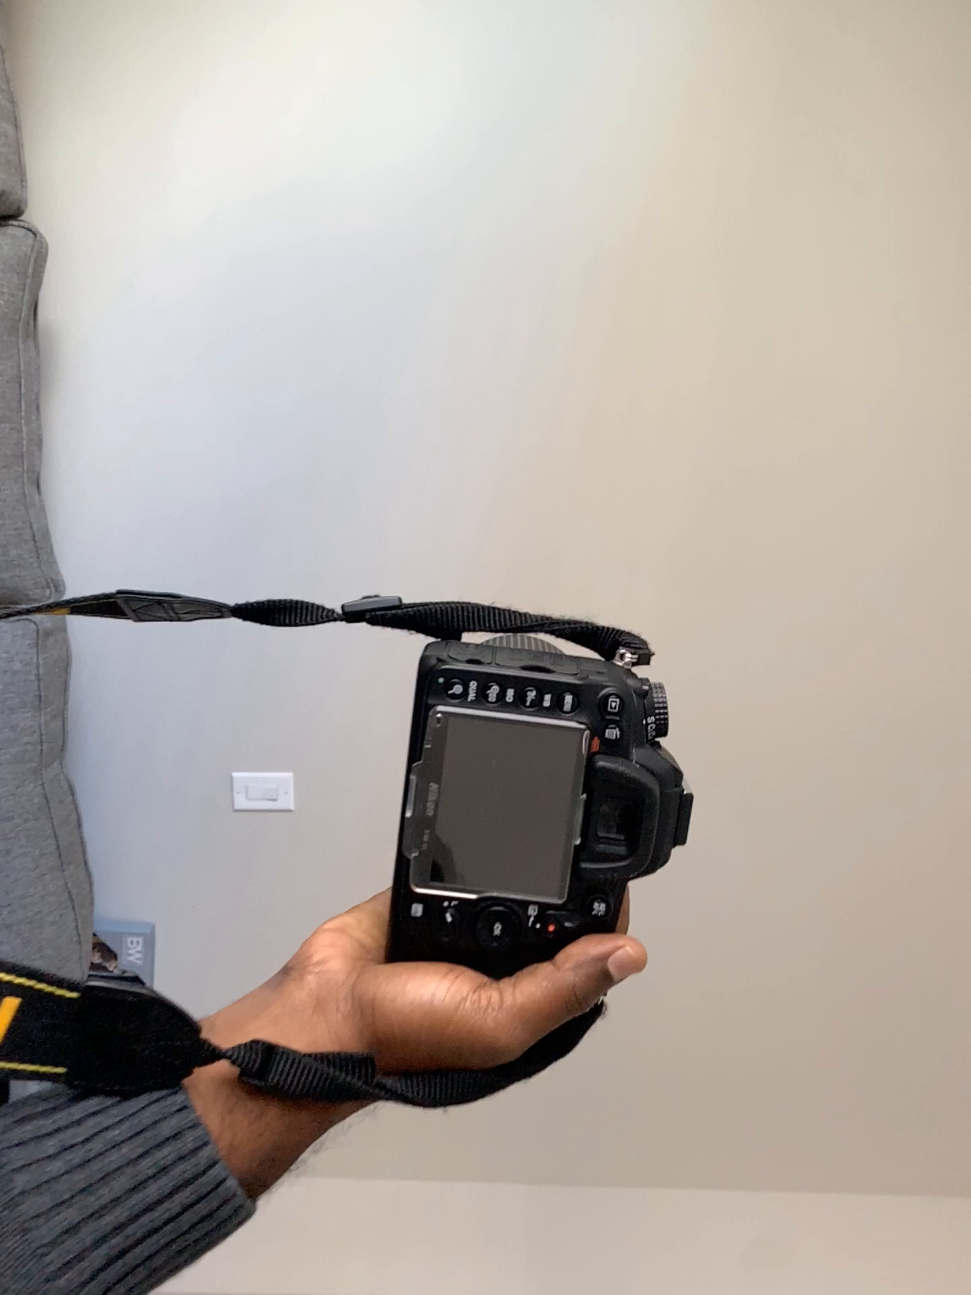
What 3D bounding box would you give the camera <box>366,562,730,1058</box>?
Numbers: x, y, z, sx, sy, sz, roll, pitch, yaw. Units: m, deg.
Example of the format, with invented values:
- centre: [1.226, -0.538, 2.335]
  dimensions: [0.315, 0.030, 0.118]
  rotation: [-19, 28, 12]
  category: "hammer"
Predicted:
- centre: [0.021, 0.059, 0.462]
  dimensions: [0.170, 0.114, 0.160]
  rotation: [-93, -168, -77]
  category: "camera"
